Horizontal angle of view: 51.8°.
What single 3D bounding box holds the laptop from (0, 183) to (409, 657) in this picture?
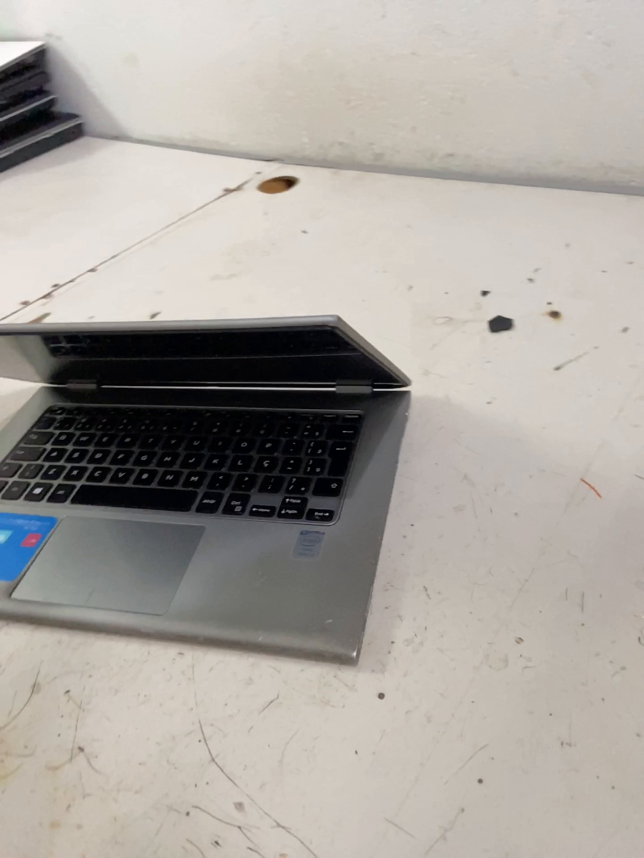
[{"bbox_3d":[-0.129,-0.018,0.408,0.326,0.155,0.219,1,41,16],"label":"laptop"}]
